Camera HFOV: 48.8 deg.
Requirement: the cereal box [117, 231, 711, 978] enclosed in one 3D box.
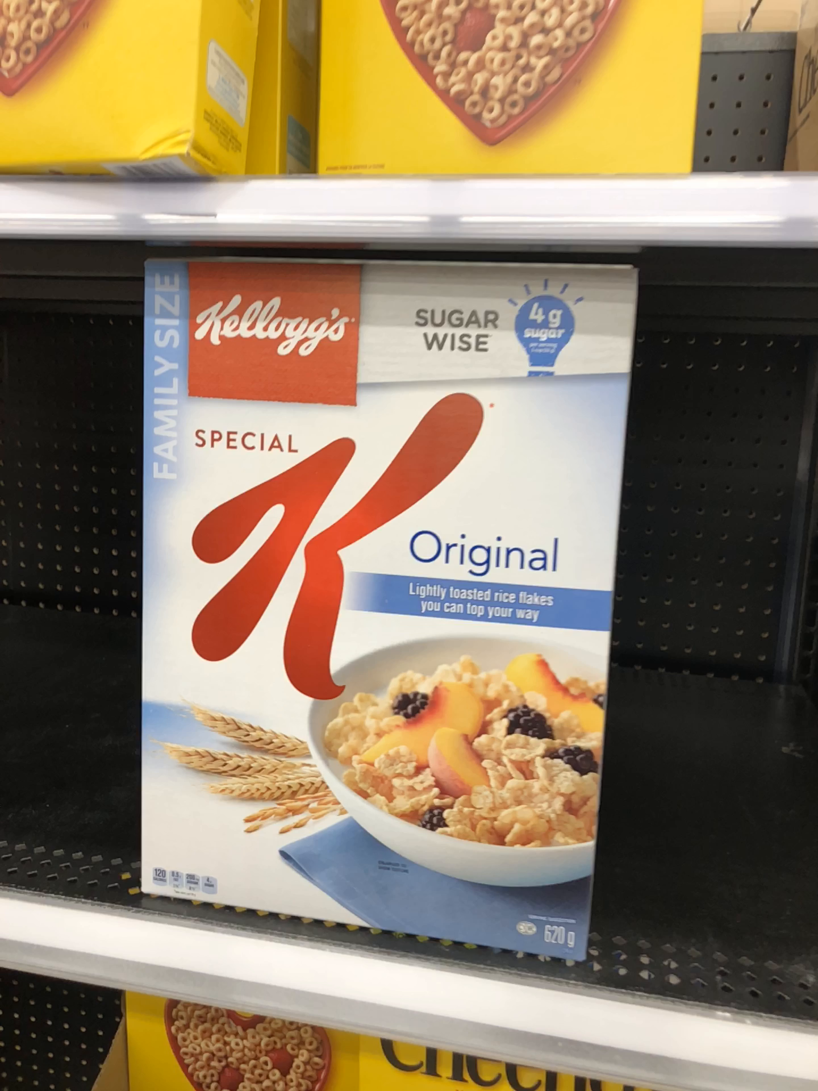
[{"bbox_3d":[-0.005,0.022,0.453,0.260,0.329,0.080,4,9,10],"label":"cereal box"}]
